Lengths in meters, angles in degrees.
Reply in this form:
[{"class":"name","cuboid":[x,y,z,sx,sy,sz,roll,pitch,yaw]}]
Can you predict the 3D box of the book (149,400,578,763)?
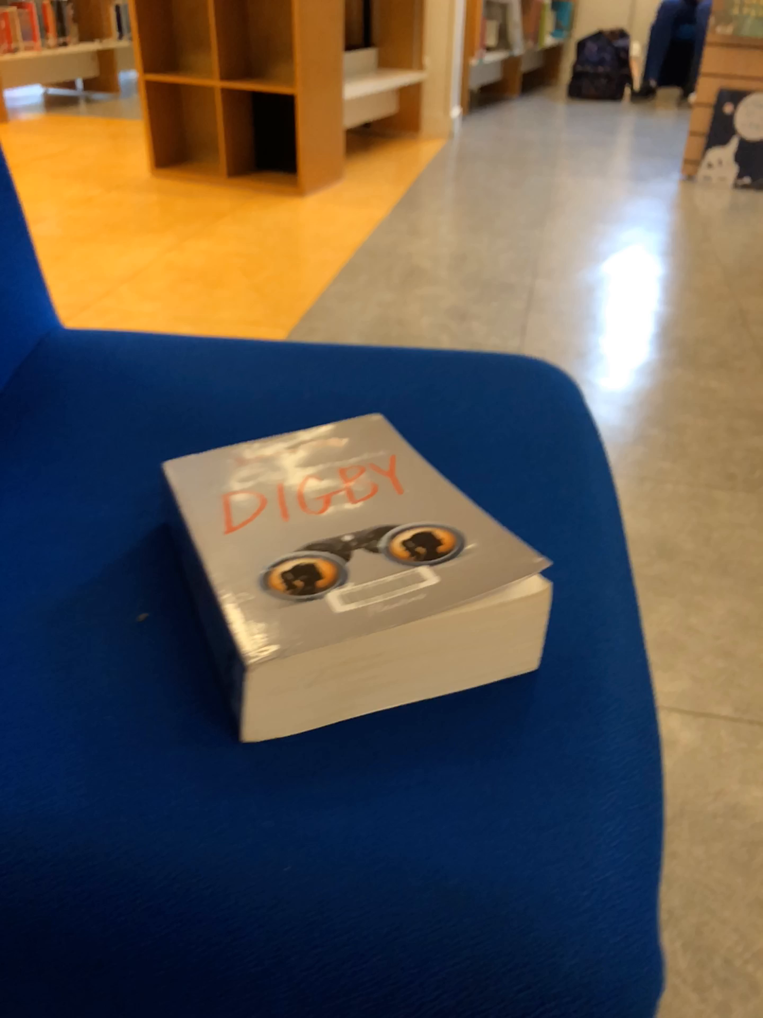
[{"class":"book","cuboid":[-0.025,0.016,0.435,0.151,0.056,0.211,-11,29,-18]}]
